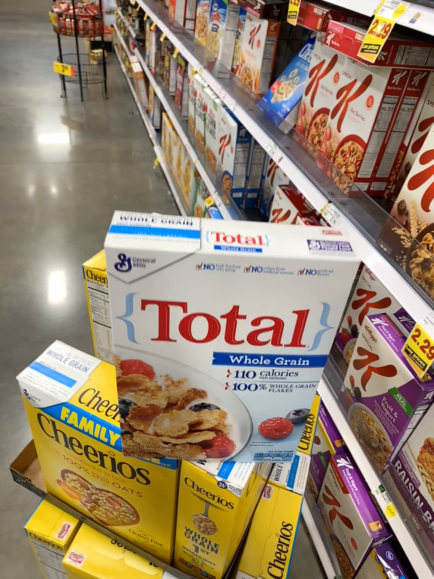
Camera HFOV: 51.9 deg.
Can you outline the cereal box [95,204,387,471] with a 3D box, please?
[{"bbox_3d":[0.008,0.070,0.432,0.210,0.298,0.050,3,39,-3],"label":"cereal box"}]
